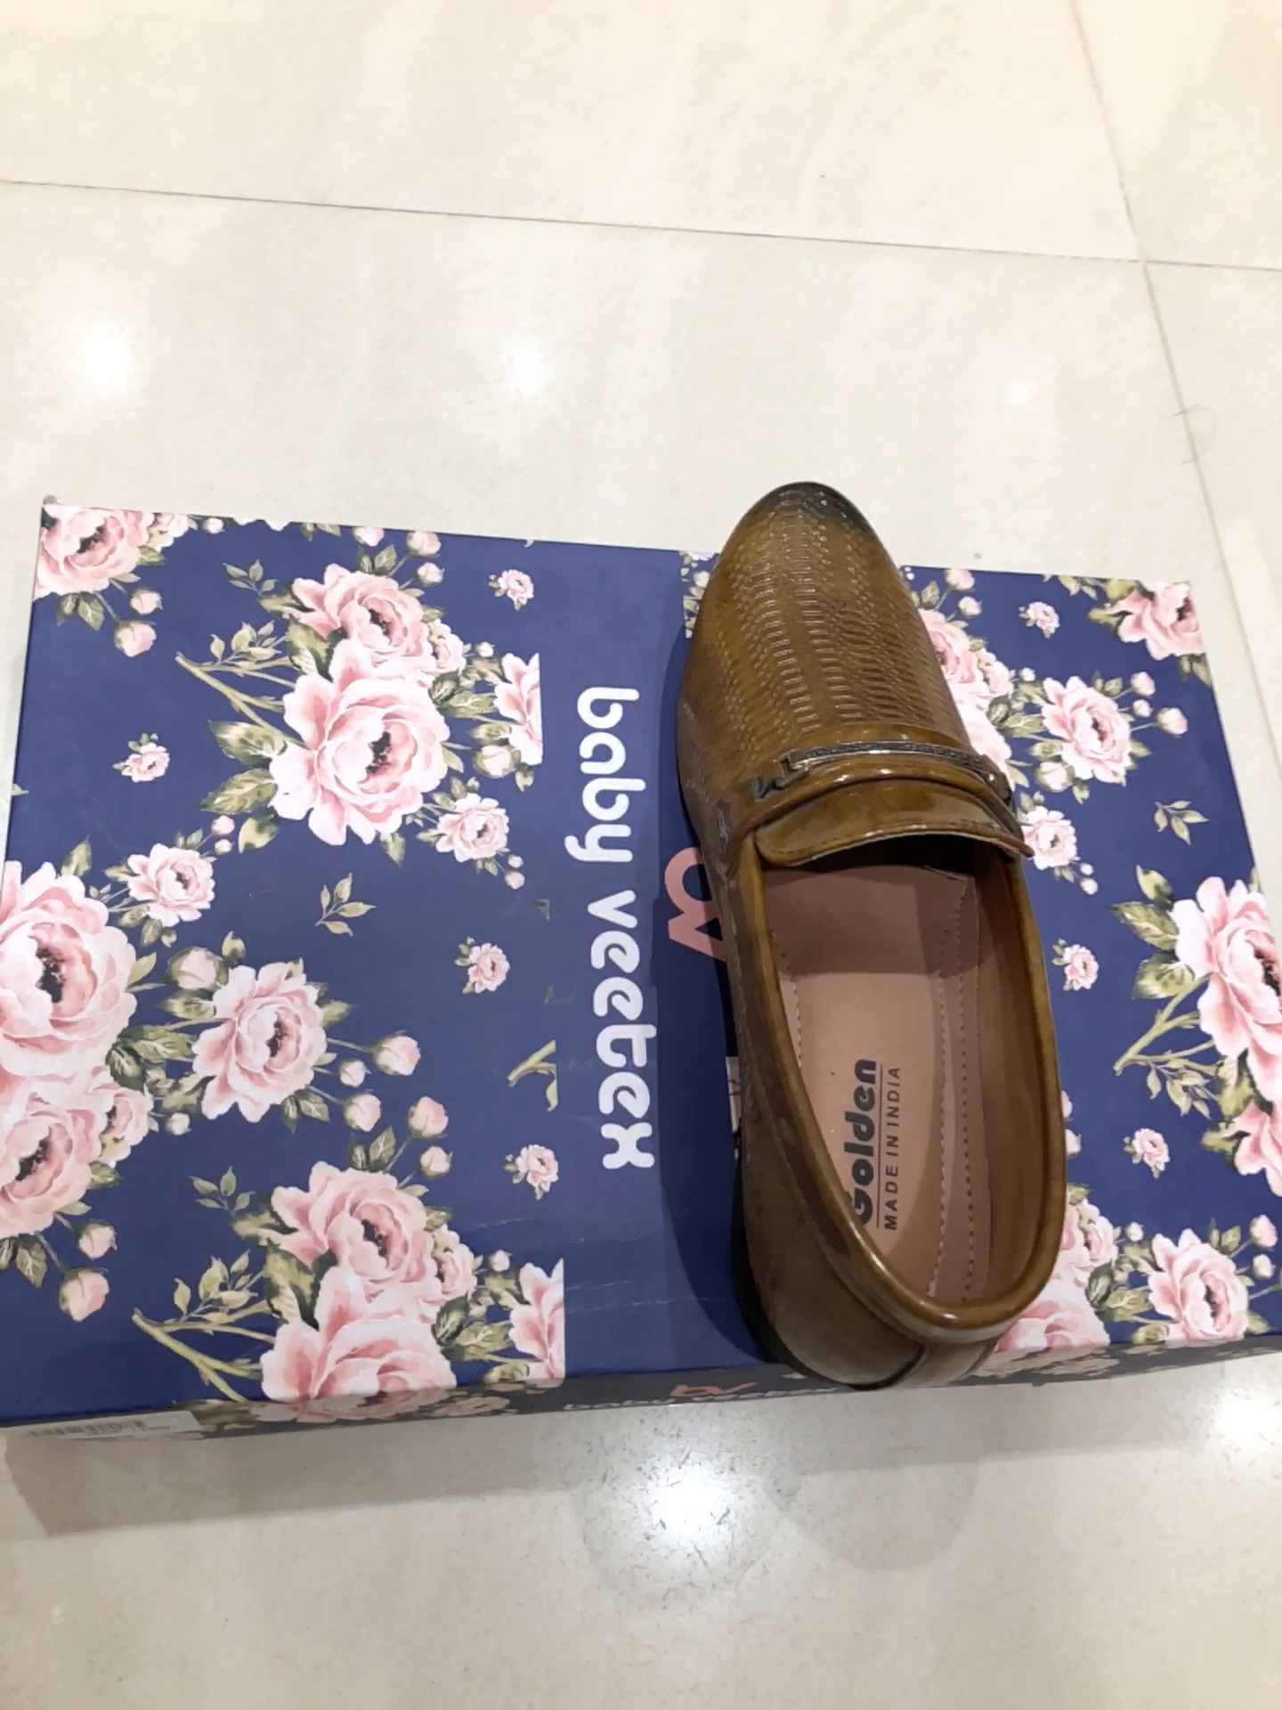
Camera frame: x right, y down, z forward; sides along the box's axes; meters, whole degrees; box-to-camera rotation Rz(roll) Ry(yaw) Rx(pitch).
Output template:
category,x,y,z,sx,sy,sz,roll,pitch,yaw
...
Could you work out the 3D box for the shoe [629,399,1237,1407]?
category,x,y,z,sx,sy,sz,roll,pitch,yaw
shoe,0.055,0.011,0.329,0.090,0.080,0.210,1,71,-13
